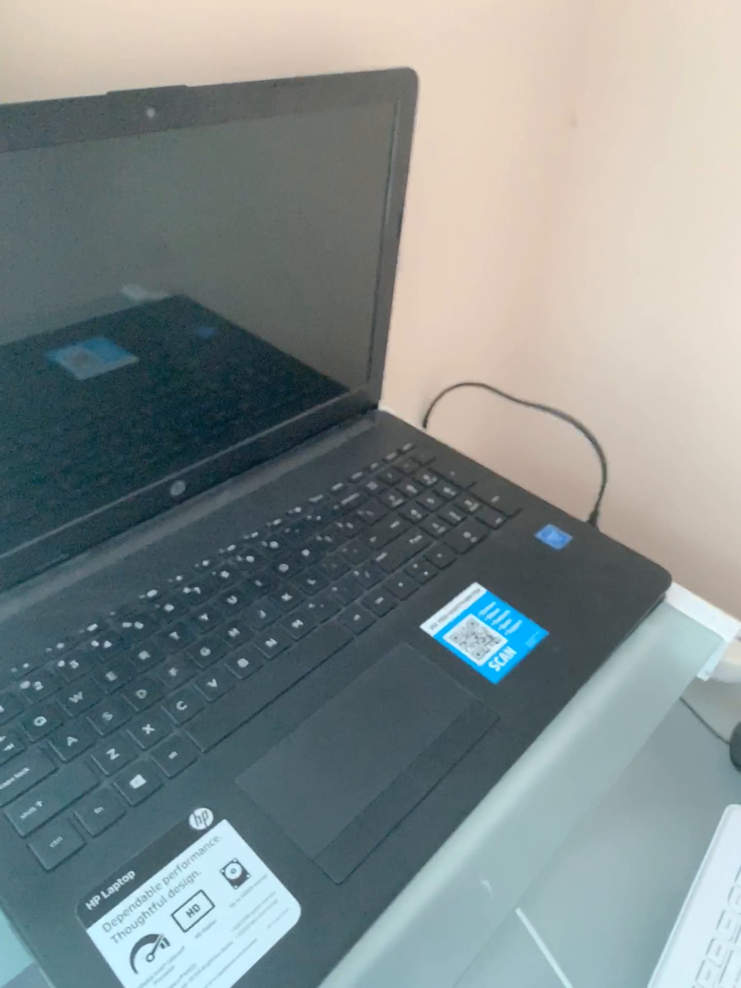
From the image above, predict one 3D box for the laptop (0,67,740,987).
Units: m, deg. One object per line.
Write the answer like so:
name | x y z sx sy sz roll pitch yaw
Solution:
laptop | -0.019 -0.024 0.338 0.245 0.225 0.360 32 44 29
